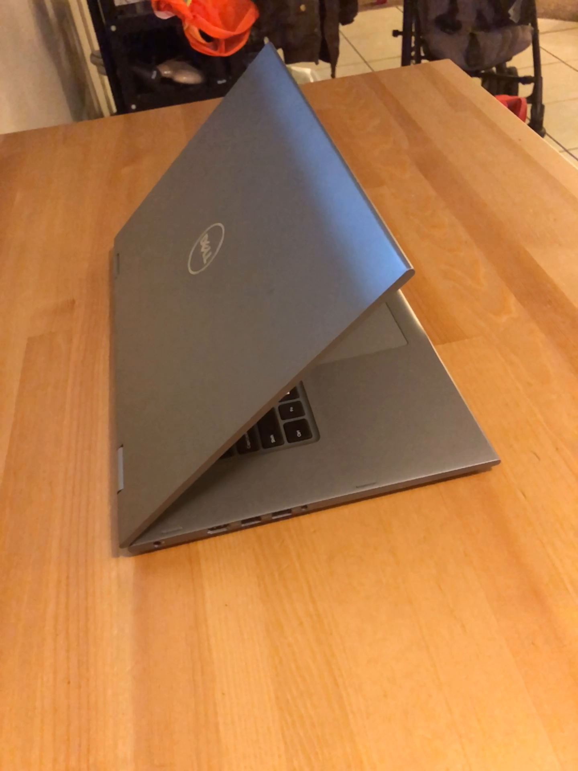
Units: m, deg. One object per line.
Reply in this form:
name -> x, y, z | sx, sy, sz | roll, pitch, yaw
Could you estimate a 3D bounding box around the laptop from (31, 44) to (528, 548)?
laptop -> -0.032, -0.104, 0.502 | 0.246, 0.165, 0.377 | -12, 44, -4
